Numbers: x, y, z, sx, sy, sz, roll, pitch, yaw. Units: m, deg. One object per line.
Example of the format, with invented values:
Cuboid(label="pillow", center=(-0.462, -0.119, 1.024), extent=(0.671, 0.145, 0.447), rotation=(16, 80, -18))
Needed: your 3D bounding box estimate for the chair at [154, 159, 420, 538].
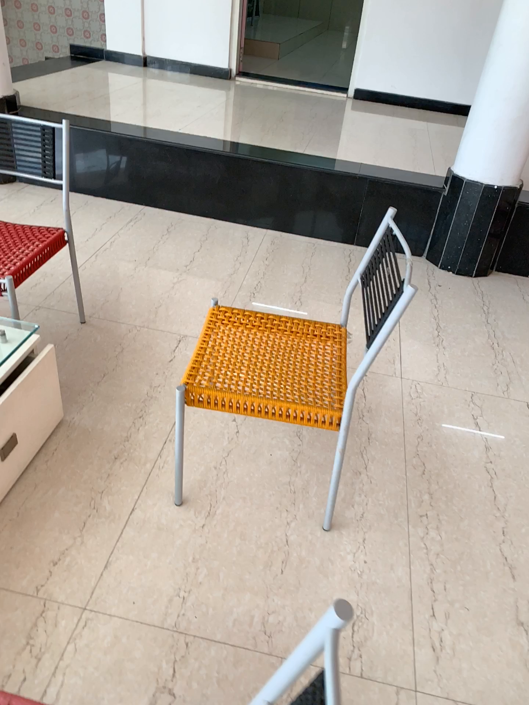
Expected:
Cuboid(label="chair", center=(0.035, -0.013, 1.460), extent=(0.510, 0.803, 0.524), rotation=(9, 35, 4))
